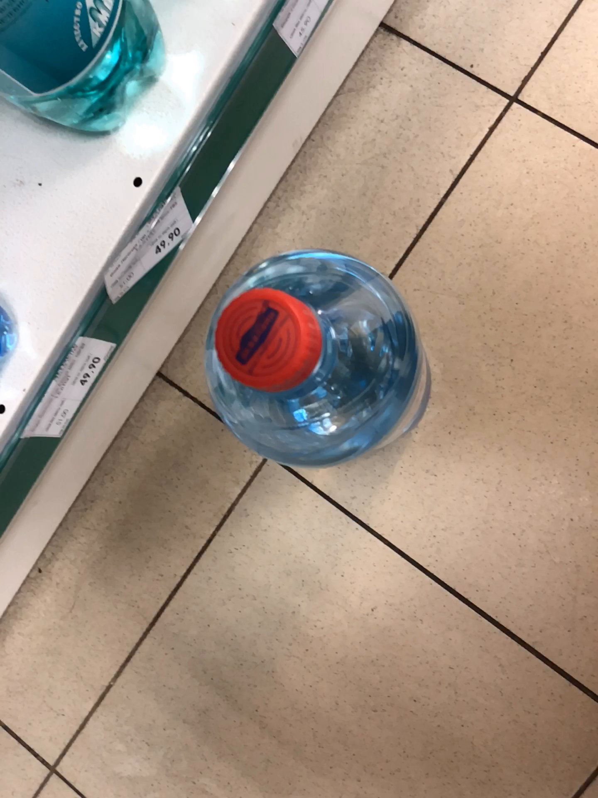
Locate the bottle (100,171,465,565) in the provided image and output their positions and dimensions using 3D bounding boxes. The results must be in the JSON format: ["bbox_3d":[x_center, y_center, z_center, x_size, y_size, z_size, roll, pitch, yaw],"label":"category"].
[{"bbox_3d":[0.025,-0.009,0.335,0.085,0.307,0.093,0,89,12],"label":"bottle"}]
